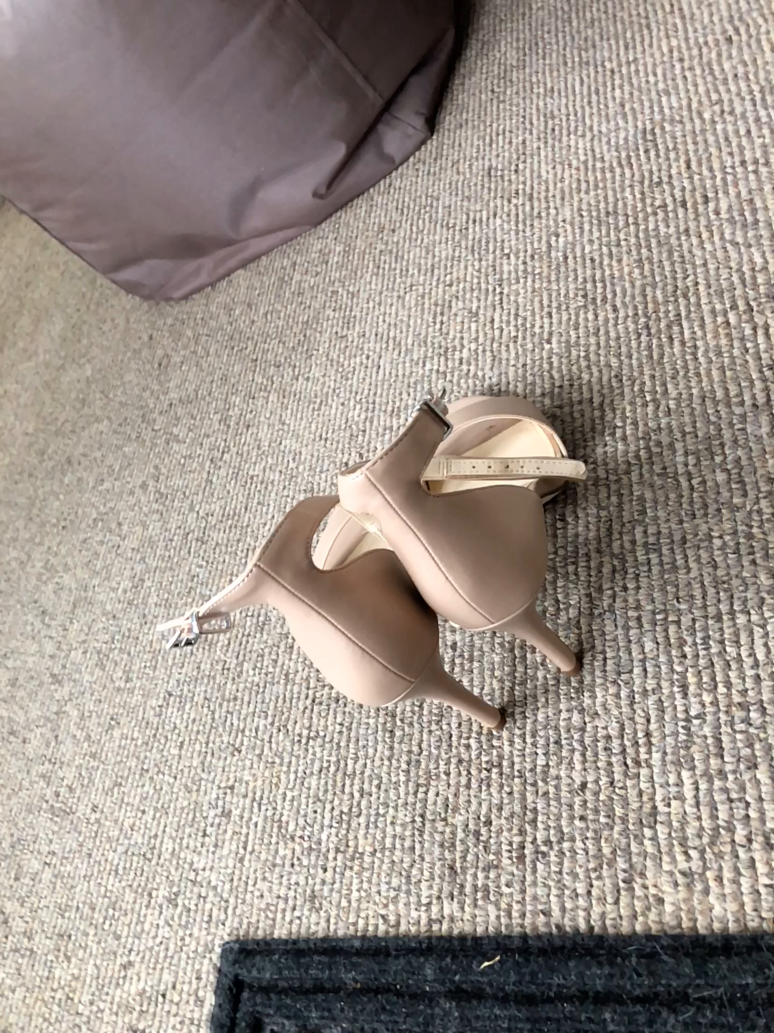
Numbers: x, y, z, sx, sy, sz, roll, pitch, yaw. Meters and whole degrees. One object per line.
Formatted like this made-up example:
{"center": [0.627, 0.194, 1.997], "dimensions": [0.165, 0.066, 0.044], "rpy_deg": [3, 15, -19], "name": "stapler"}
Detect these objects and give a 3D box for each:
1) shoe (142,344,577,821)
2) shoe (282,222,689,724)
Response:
{"center": [-0.024, 0.029, 0.466], "dimensions": [0.105, 0.144, 0.207], "rpy_deg": [-43, 42, 6], "name": "shoe"}
{"center": [0.045, -0.026, 0.460], "dimensions": [0.099, 0.154, 0.208], "rpy_deg": [-34, 44, 15], "name": "shoe"}
